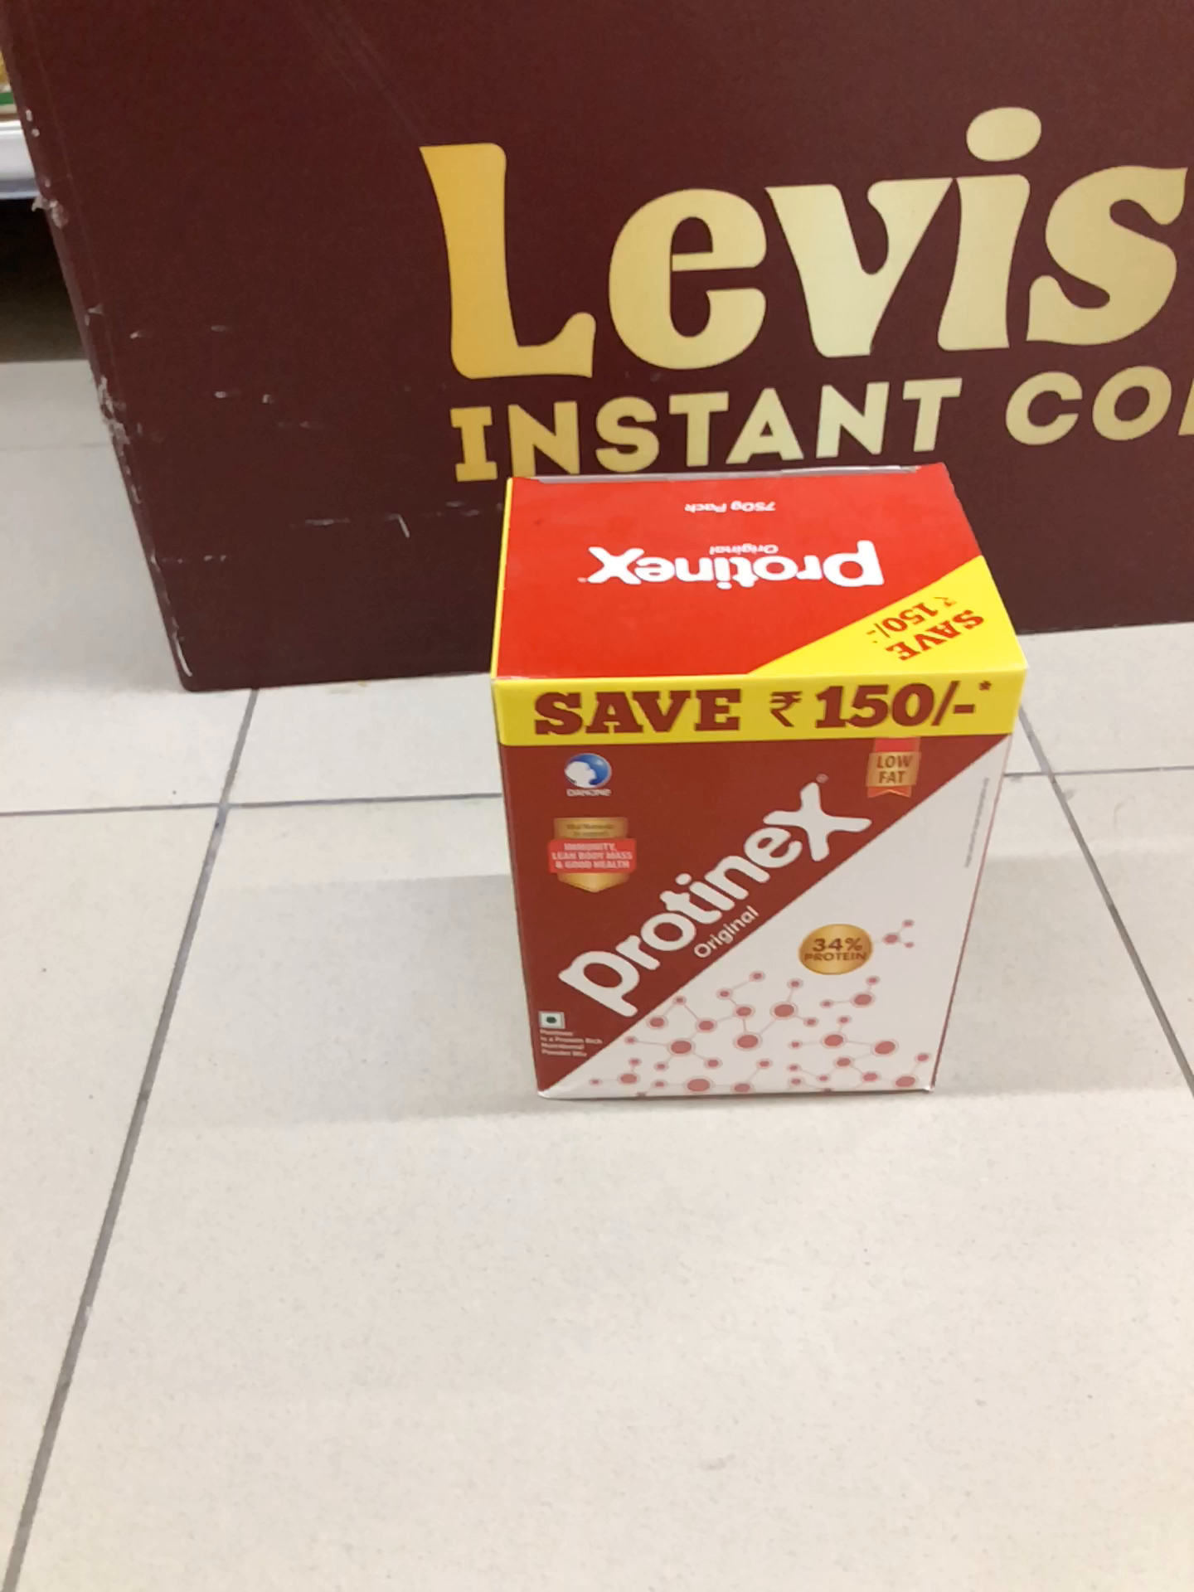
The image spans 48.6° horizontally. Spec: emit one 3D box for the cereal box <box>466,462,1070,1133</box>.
[{"bbox_3d":[0.048,0.006,0.461,0.160,0.199,0.121,-2,40,1],"label":"cereal box"}]
